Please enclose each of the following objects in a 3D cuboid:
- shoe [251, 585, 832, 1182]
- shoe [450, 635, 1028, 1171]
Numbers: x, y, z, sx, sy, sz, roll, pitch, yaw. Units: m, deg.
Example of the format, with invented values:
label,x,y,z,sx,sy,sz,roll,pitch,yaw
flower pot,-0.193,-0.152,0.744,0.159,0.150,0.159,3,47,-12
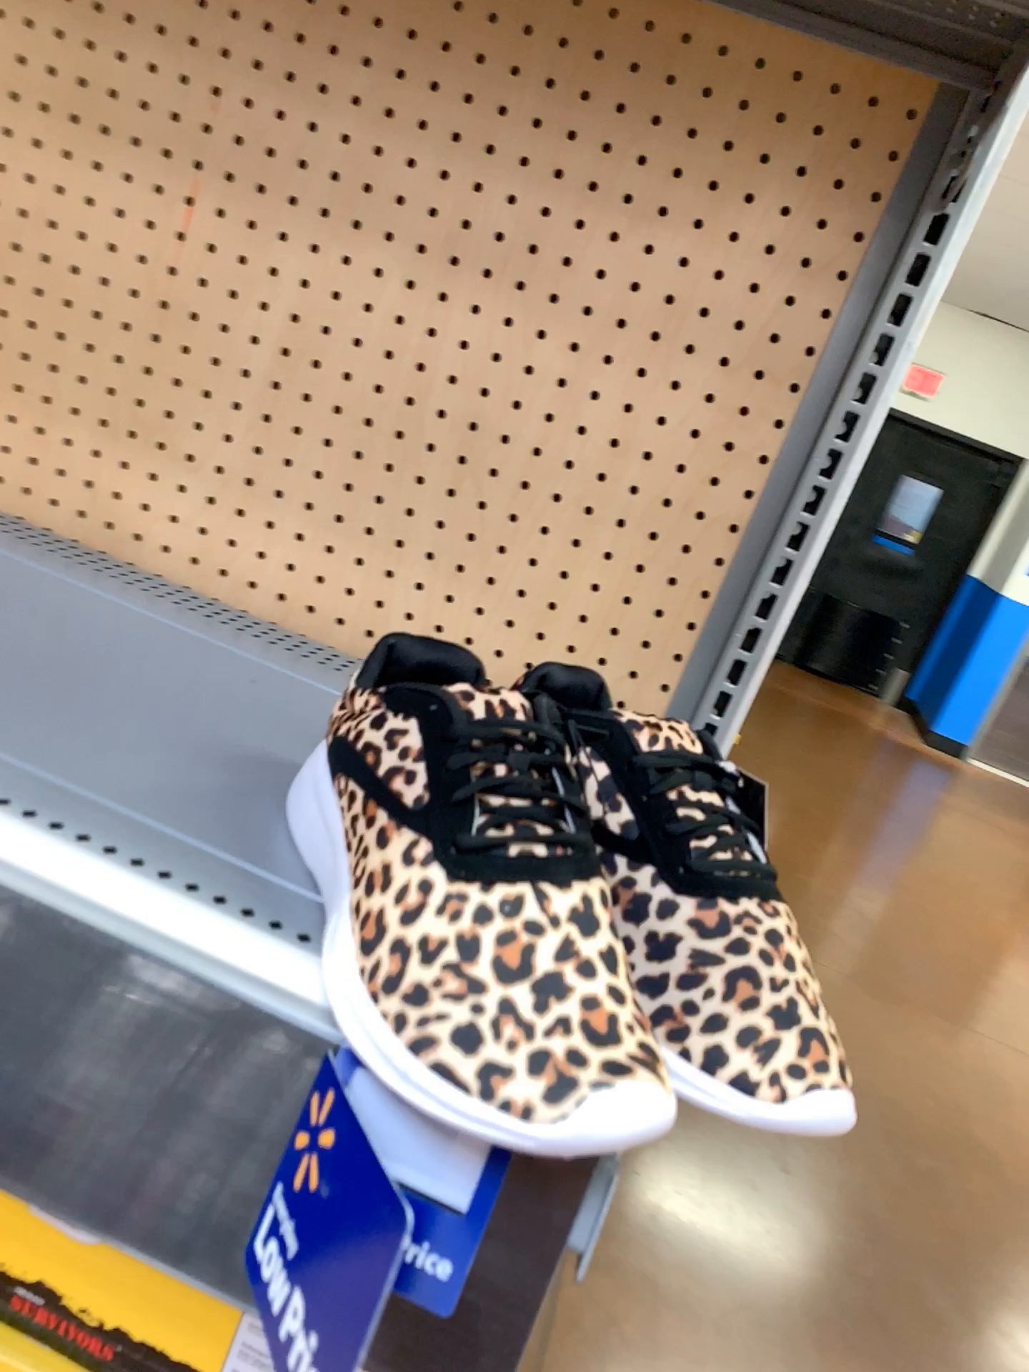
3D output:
label,x,y,z,sx,sy,sz,roll,pitch,yaw
shoe,-0.014,0.057,0.405,0.119,0.091,0.241,12,19,-27
shoe,0.078,0.076,0.458,0.110,0.091,0.241,11,20,-31
